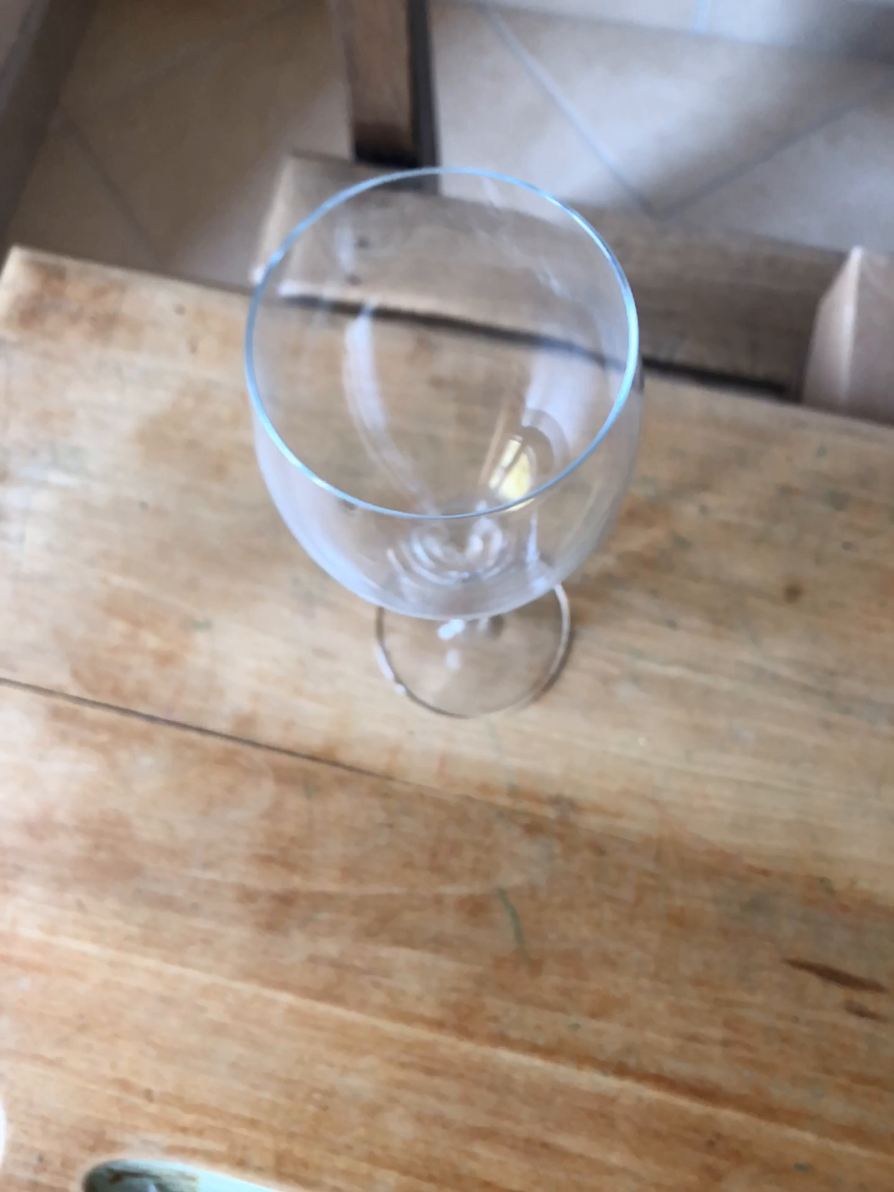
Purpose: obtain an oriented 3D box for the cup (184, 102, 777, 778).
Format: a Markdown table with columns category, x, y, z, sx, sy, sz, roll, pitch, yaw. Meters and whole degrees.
| category | x | y | z | sx | sy | sz | roll | pitch | yaw |
| --- | --- | --- | --- | --- | --- | --- | --- | --- | --- |
| cup | 0.007 | -0.009 | 0.254 | 0.080 | 0.210 | 0.080 | -1 | 75 | 3 |
